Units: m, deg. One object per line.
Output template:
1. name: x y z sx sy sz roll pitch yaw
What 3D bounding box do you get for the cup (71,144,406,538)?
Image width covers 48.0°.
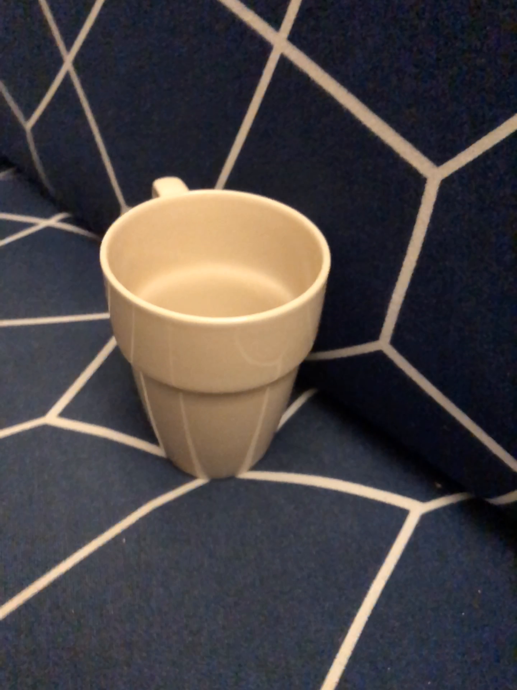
1. cup: -0.017 -0.006 0.245 0.090 0.109 0.105 -12 45 -18
